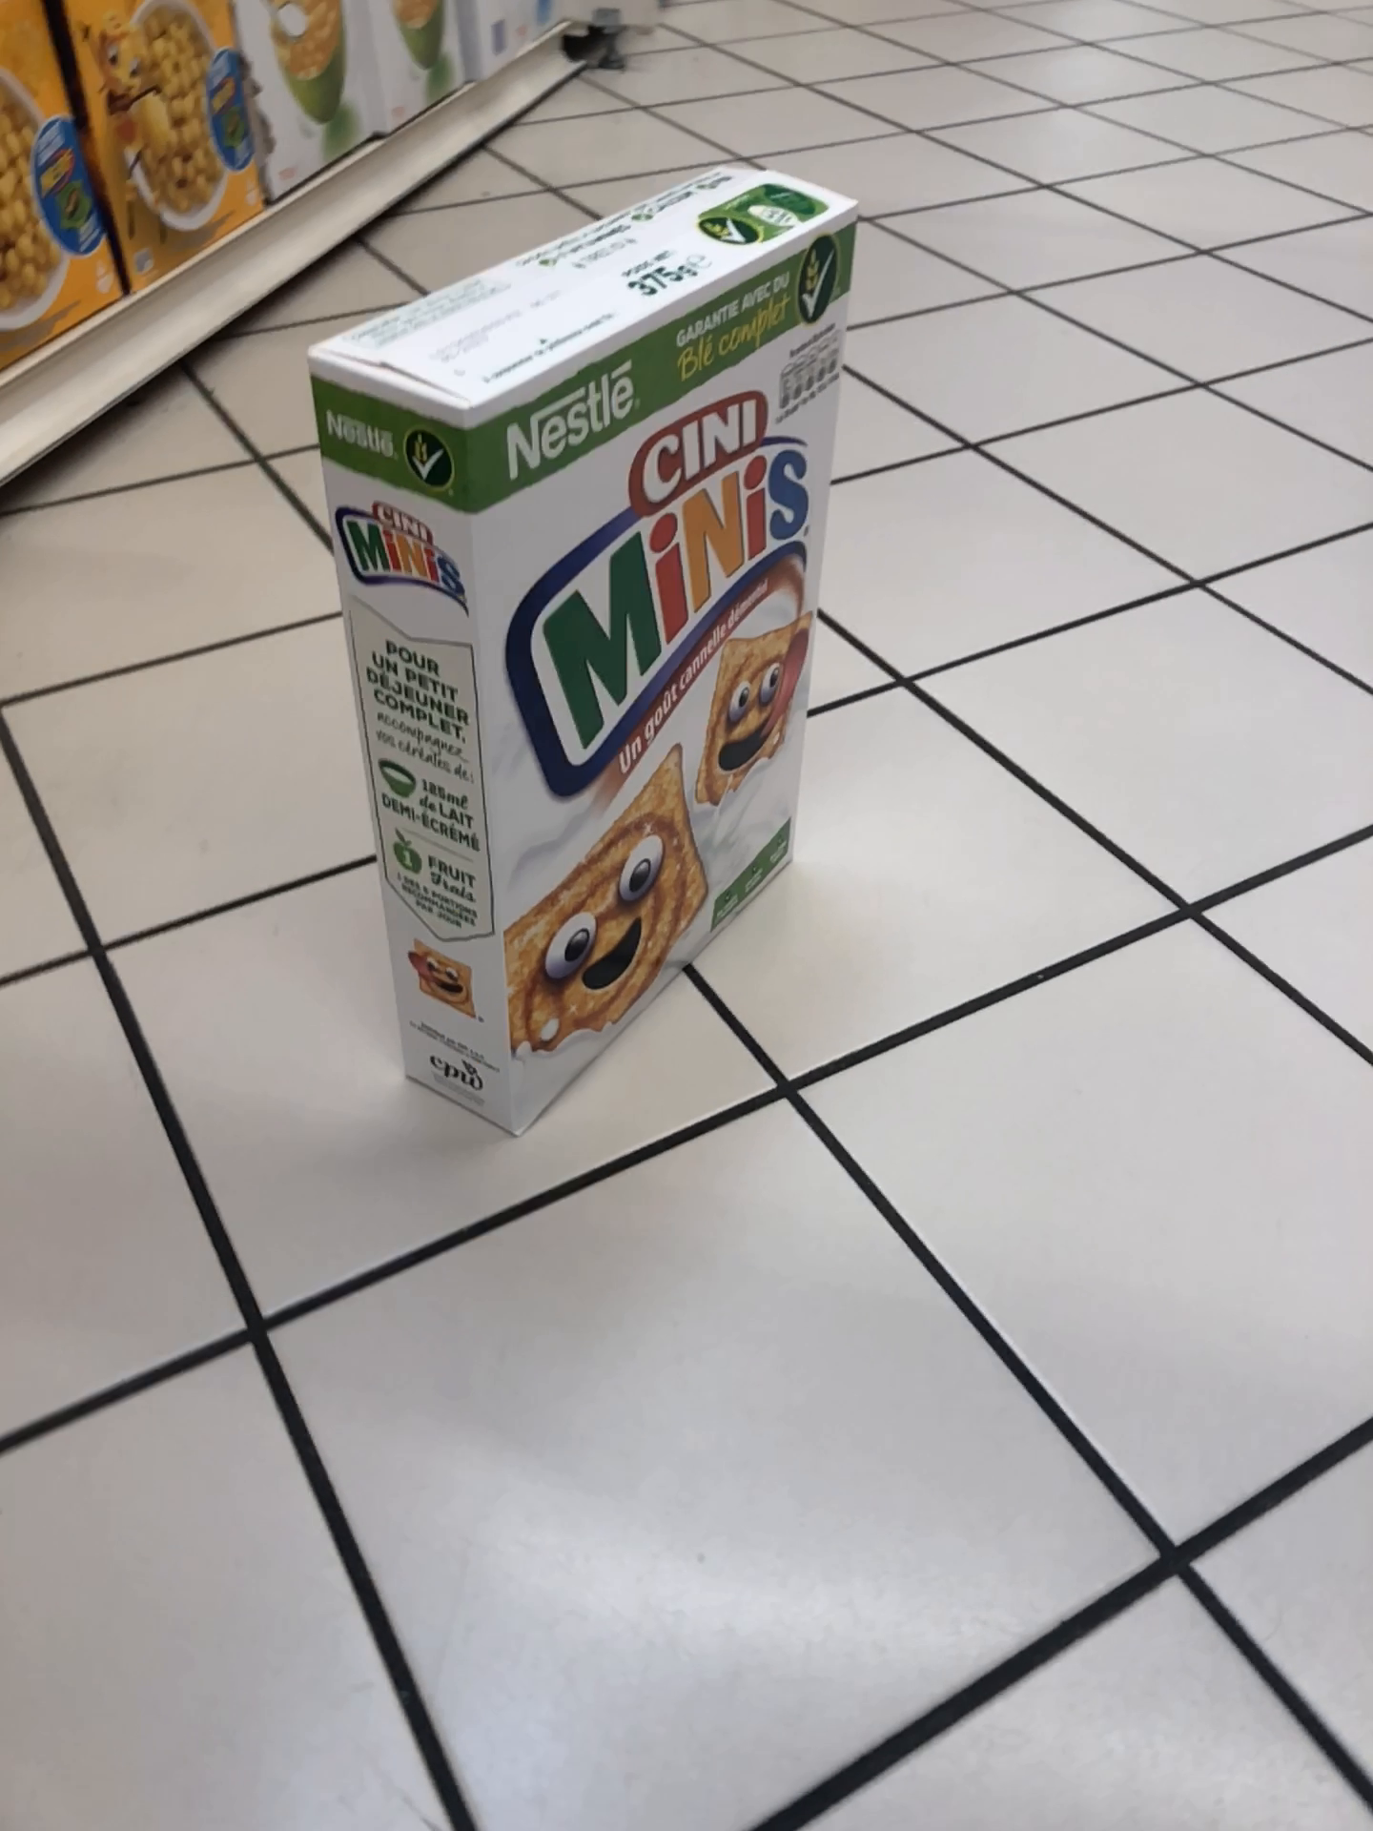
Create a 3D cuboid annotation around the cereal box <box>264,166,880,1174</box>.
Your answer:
[{"bbox_3d":[-0.024,-0.080,0.512,0.070,0.268,0.201,23,46,23],"label":"cereal box"}]
